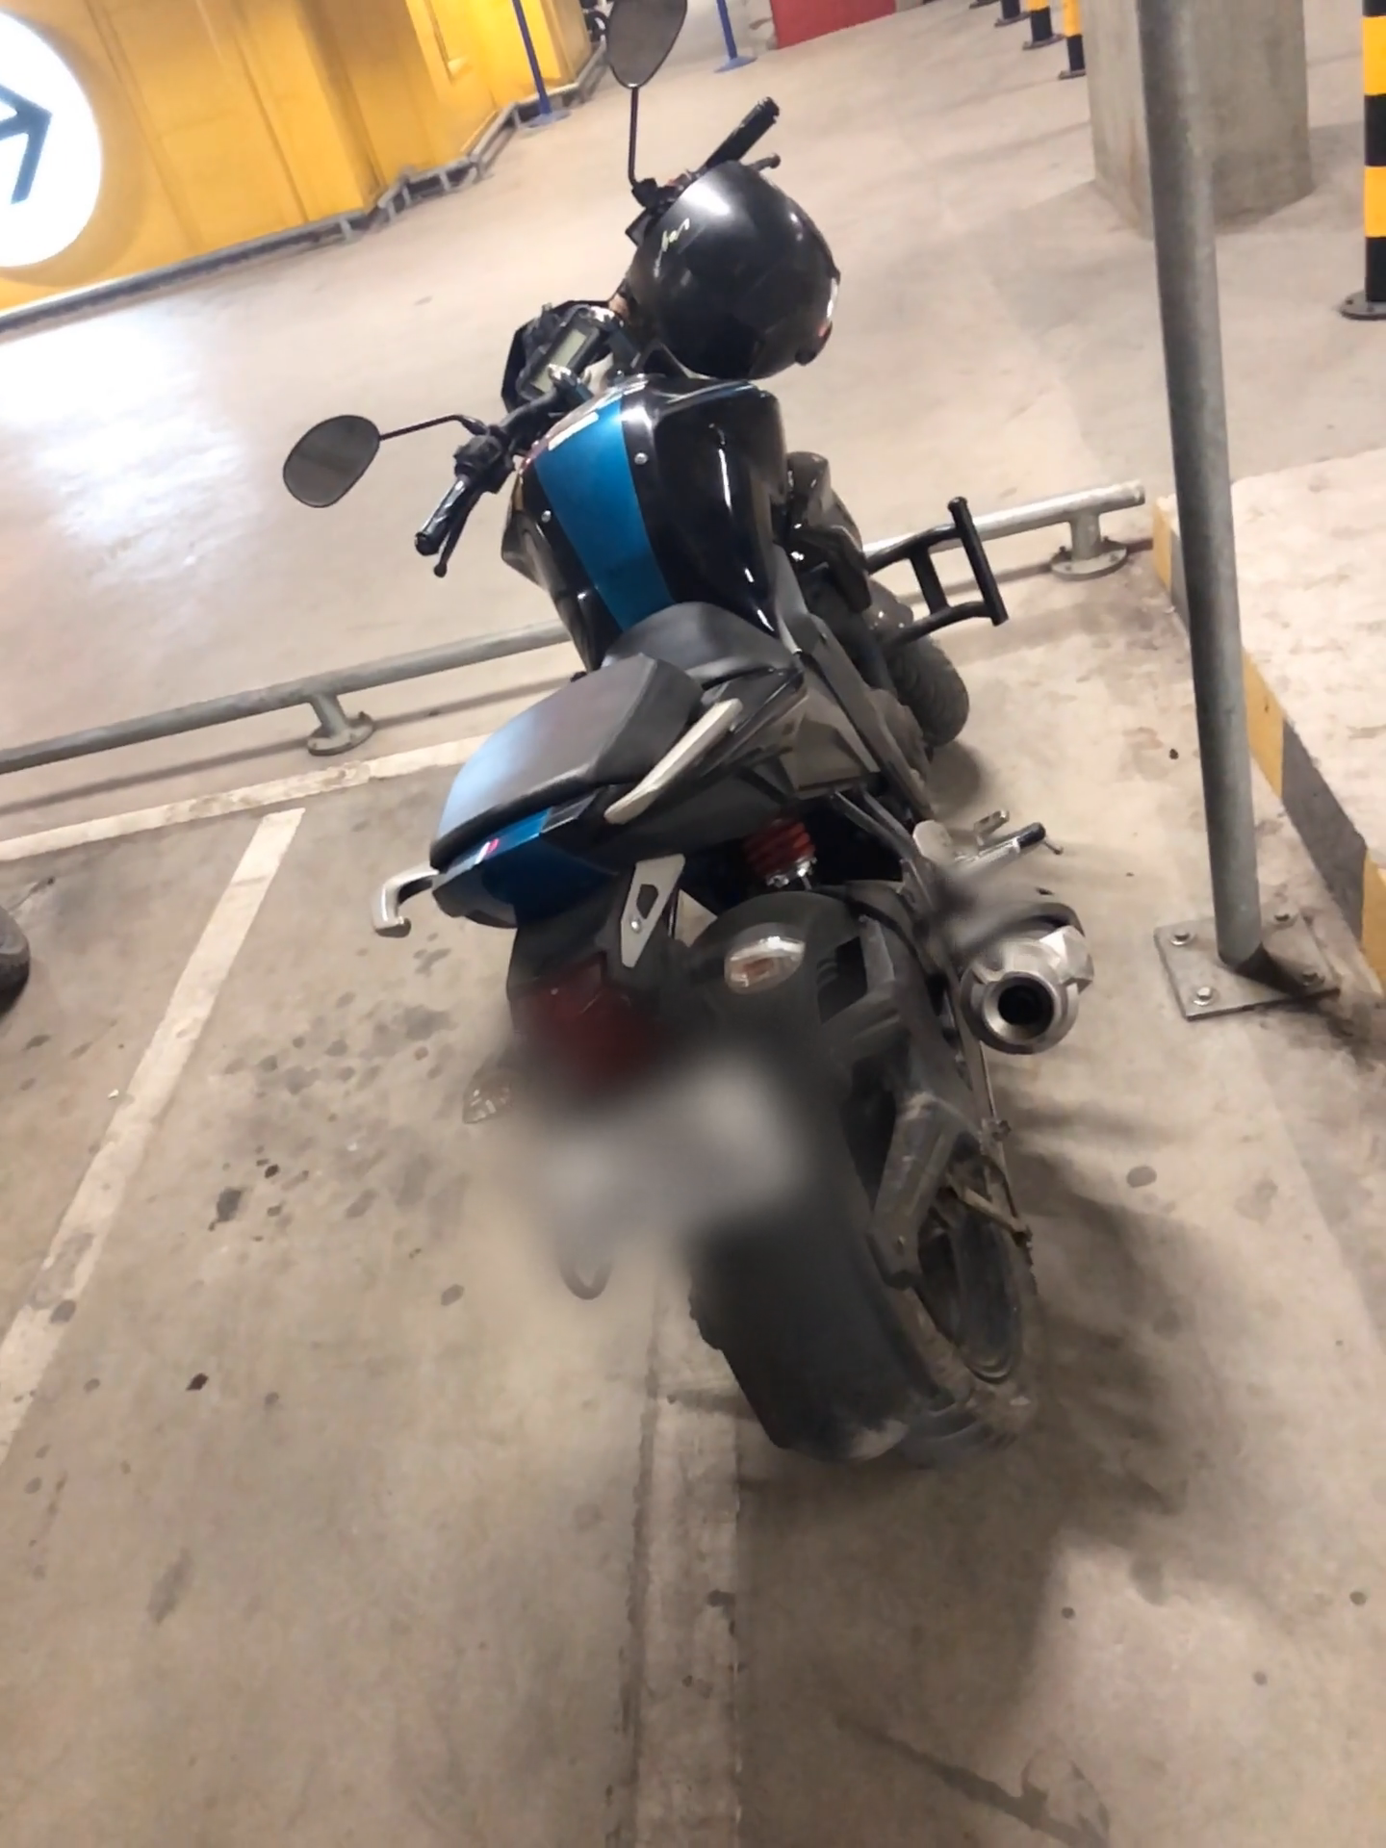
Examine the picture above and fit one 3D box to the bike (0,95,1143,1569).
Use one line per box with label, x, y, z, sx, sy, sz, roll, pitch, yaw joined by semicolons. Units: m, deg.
bike;-0.140;-0.233;1.746;0.766;0.951;1.422;-15;34;6
